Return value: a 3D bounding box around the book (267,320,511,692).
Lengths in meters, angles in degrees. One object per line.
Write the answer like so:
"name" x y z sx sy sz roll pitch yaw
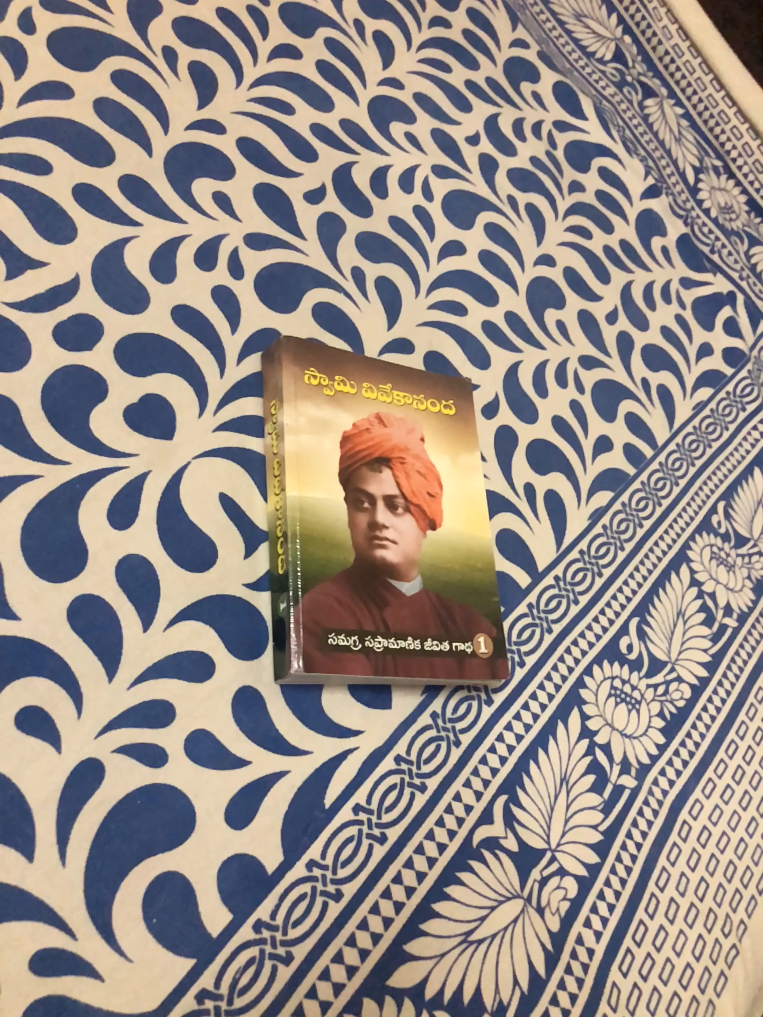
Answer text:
"book" 0.003 0.001 0.510 0.141 0.030 0.210 9 66 -31
